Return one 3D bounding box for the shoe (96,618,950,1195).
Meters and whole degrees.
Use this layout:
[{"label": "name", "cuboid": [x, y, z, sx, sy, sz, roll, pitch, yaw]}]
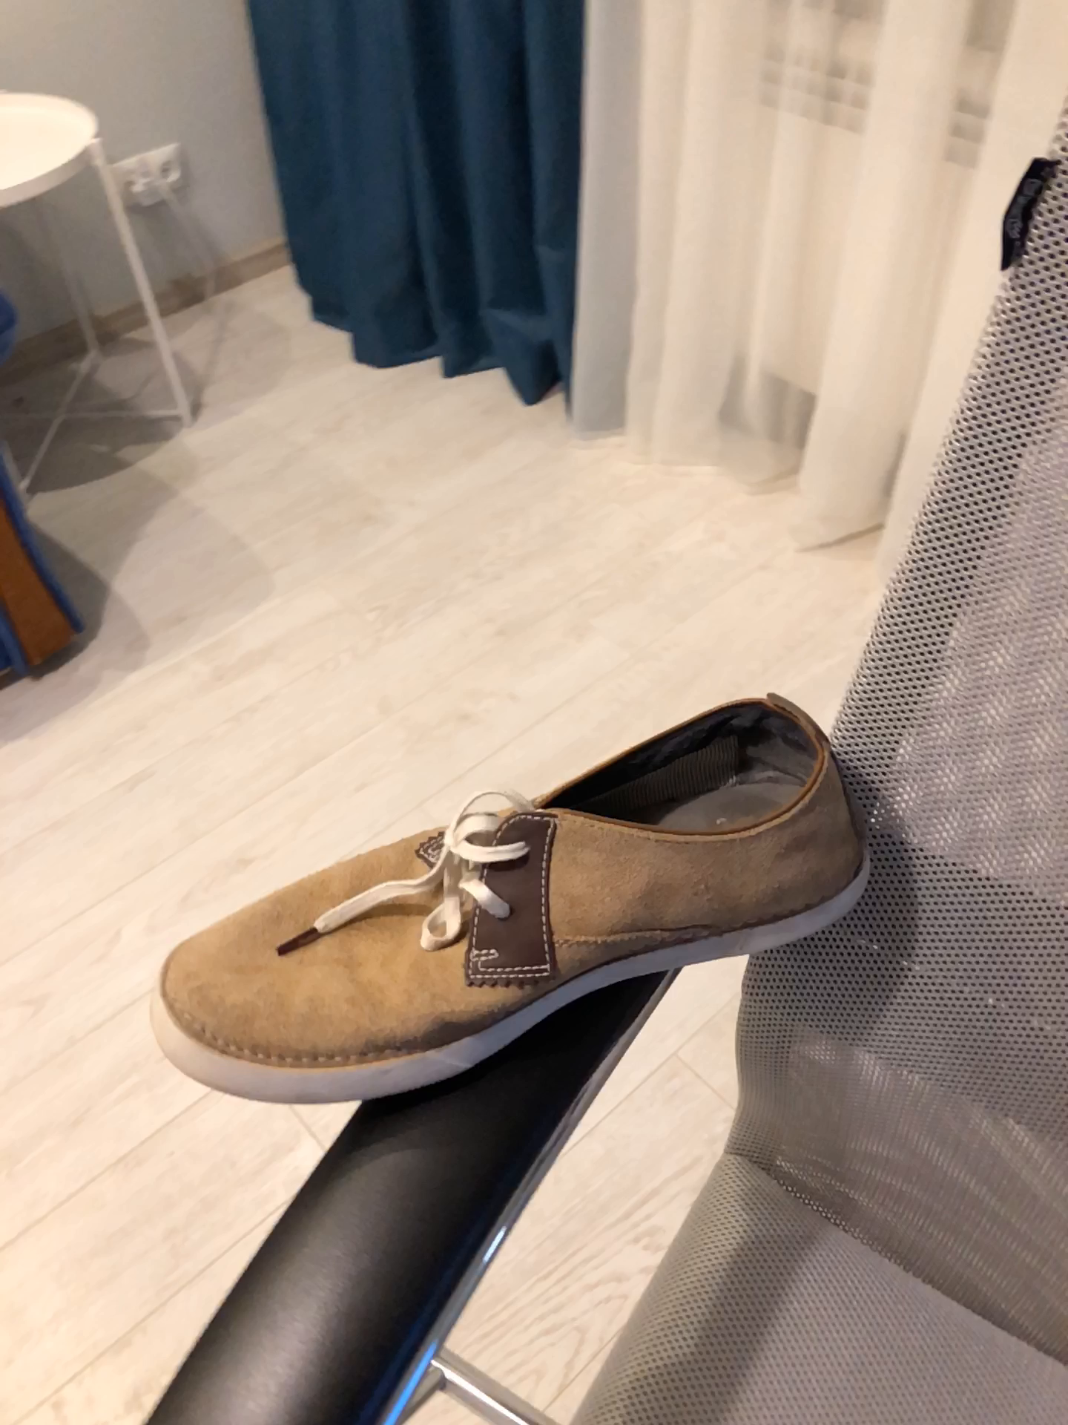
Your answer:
[{"label": "shoe", "cuboid": [-0.005, 0.069, 0.483, 0.310, 0.079, 0.121, -17, 47, -12]}]
